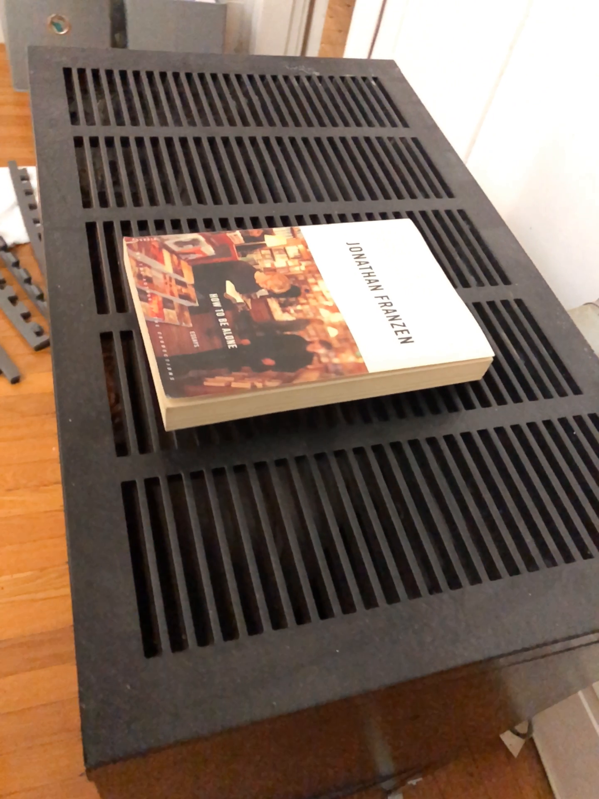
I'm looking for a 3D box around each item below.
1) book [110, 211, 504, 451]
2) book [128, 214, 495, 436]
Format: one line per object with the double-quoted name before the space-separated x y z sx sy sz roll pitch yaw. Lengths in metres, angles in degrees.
"book" 0.001 -0.056 0.420 0.210 0.030 0.151 -9 54 -20
"book" 0.004 -0.062 0.450 0.210 0.030 0.151 -9 54 -20
